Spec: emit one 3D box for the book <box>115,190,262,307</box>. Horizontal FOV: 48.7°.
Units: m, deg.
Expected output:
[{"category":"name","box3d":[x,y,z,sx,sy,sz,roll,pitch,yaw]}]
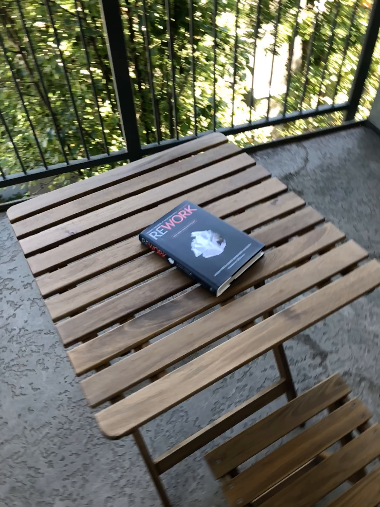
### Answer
[{"category":"book","box3d":[-0.005,-0.022,0.848,0.240,0.040,0.170,34,57,29]}]
